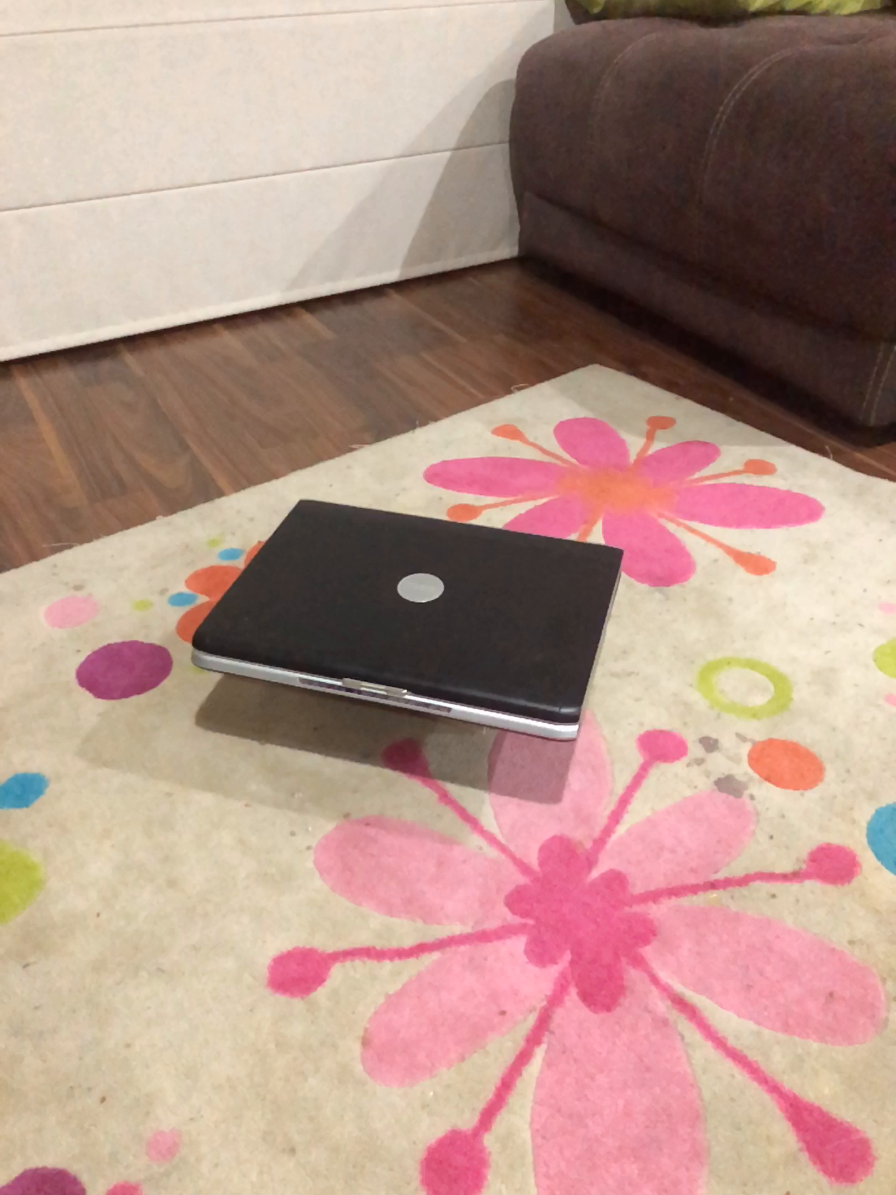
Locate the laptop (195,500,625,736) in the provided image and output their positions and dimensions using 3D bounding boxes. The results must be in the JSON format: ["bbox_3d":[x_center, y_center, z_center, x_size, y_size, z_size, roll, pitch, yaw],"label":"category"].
[{"bbox_3d":[-0.029,0.003,0.930,0.353,0.015,0.233,9,42,17],"label":"laptop"}]
